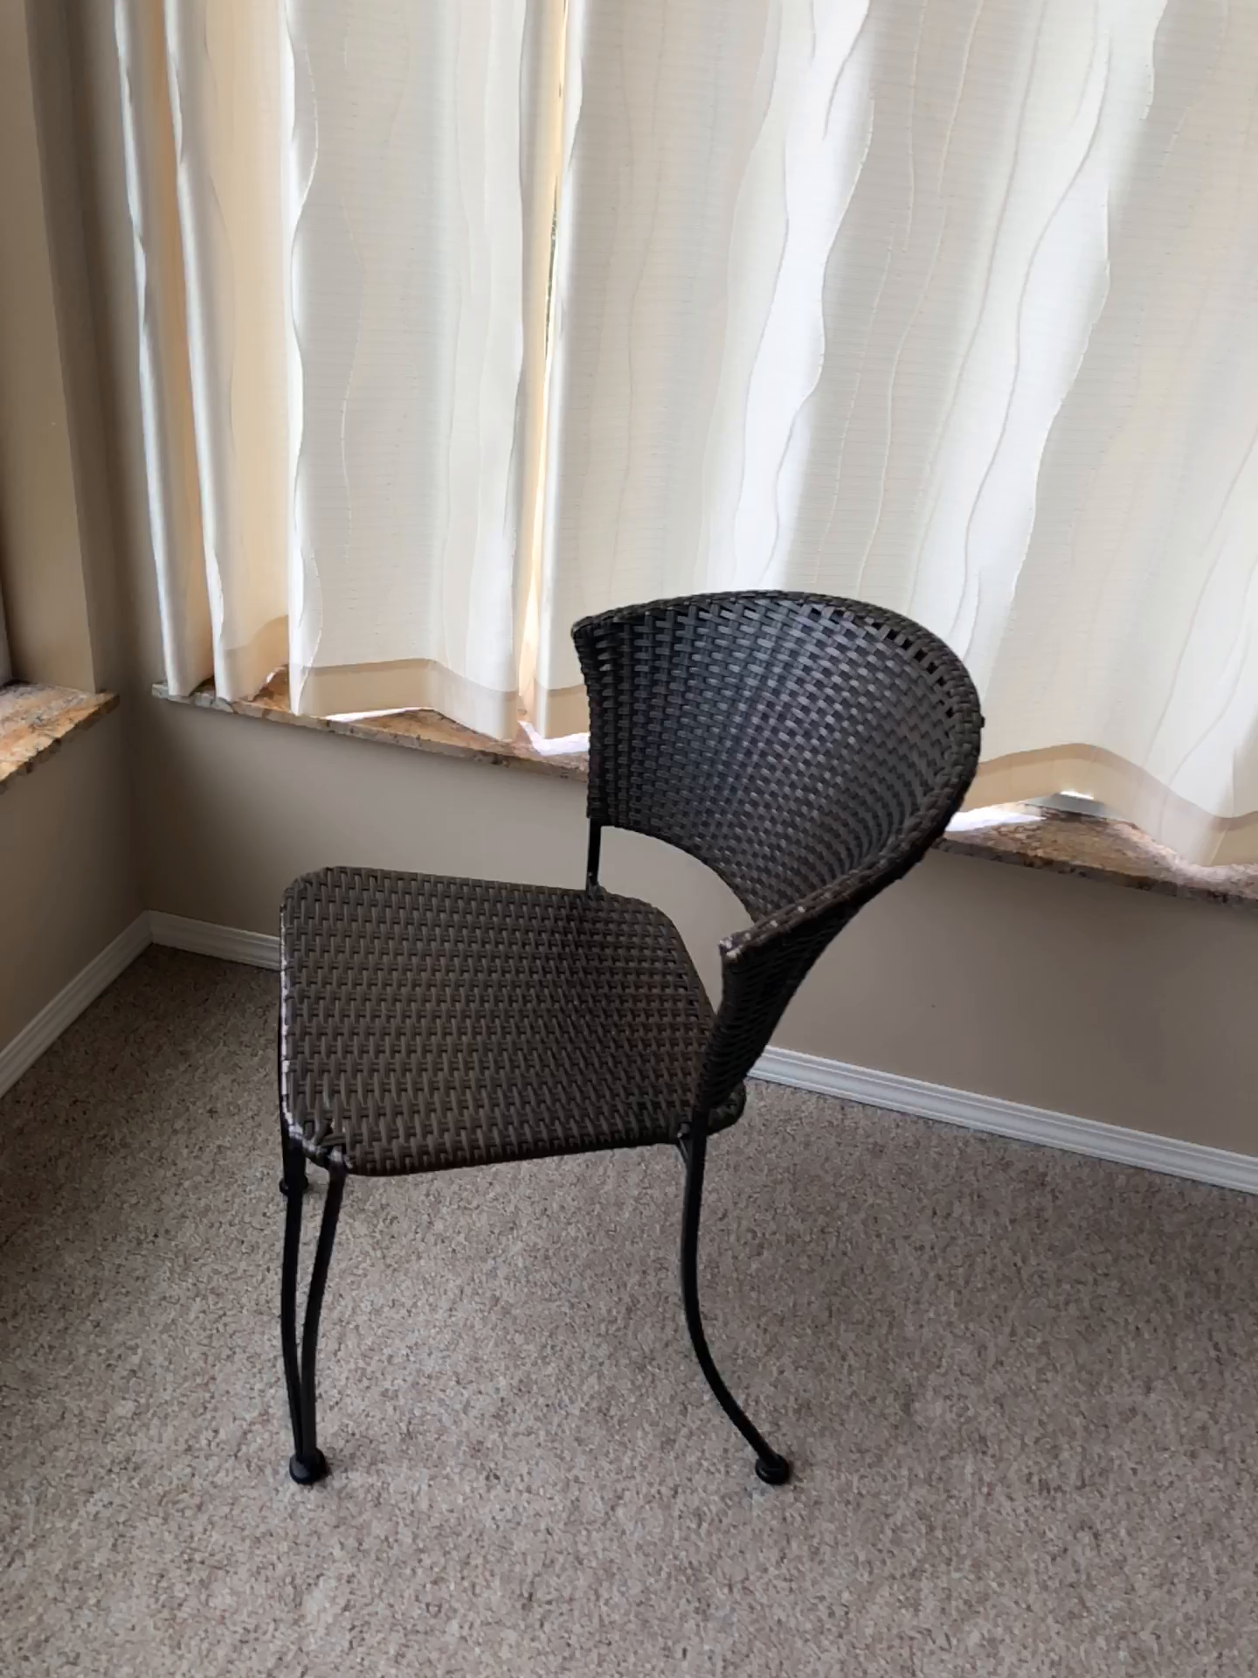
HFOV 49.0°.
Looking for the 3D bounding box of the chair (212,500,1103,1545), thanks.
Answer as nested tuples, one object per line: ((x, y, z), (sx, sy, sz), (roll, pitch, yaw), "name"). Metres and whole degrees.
((-0.054, 0.157, 1.353), (0.610, 0.787, 0.562), (0, 31, -12), "chair")
